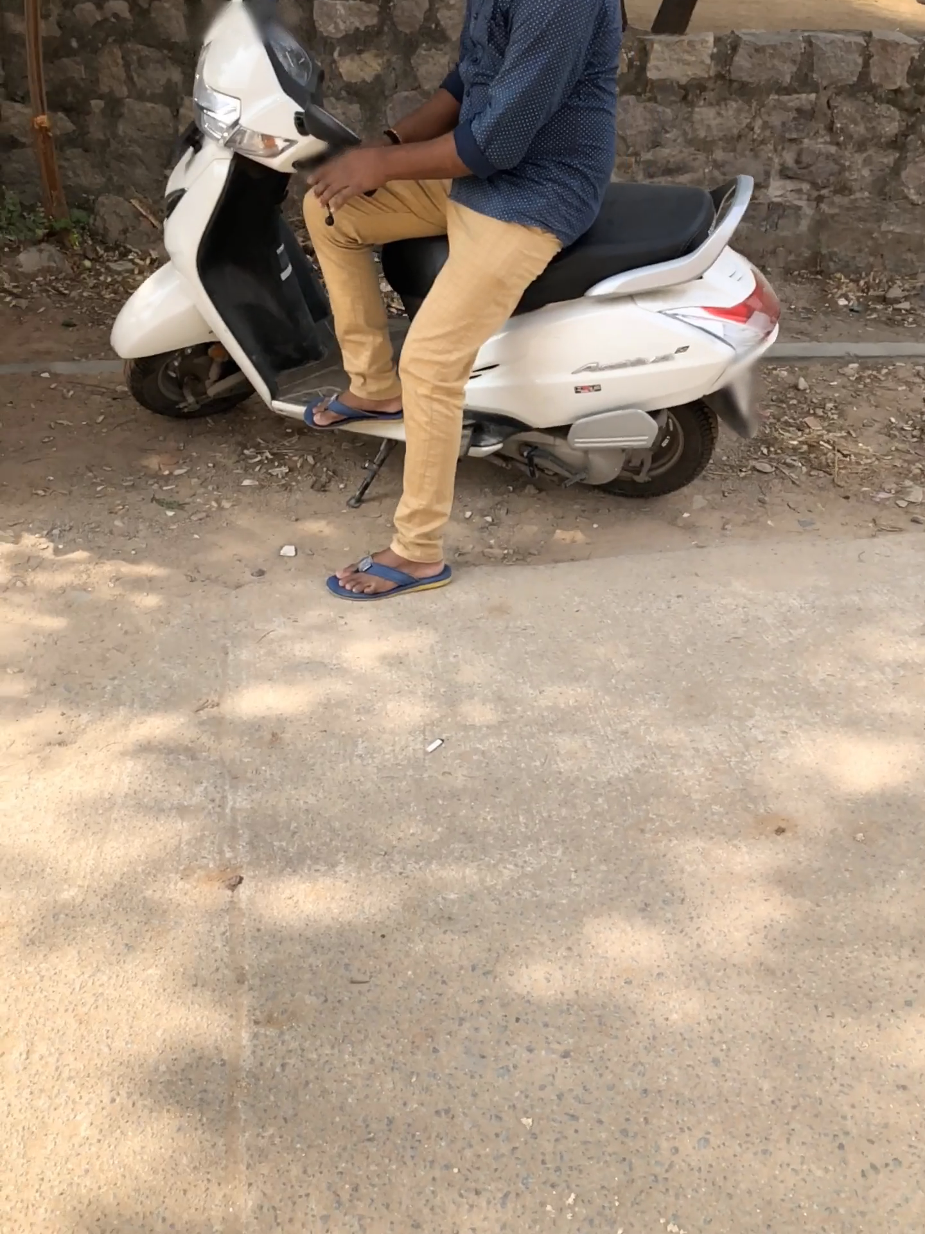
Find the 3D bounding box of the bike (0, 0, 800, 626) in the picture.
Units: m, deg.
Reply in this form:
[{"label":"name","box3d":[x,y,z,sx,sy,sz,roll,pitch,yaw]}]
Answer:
[{"label":"bike","box3d":[-0.175,-0.765,2.304,1.587,1.199,0.626,8,36,8]}]
